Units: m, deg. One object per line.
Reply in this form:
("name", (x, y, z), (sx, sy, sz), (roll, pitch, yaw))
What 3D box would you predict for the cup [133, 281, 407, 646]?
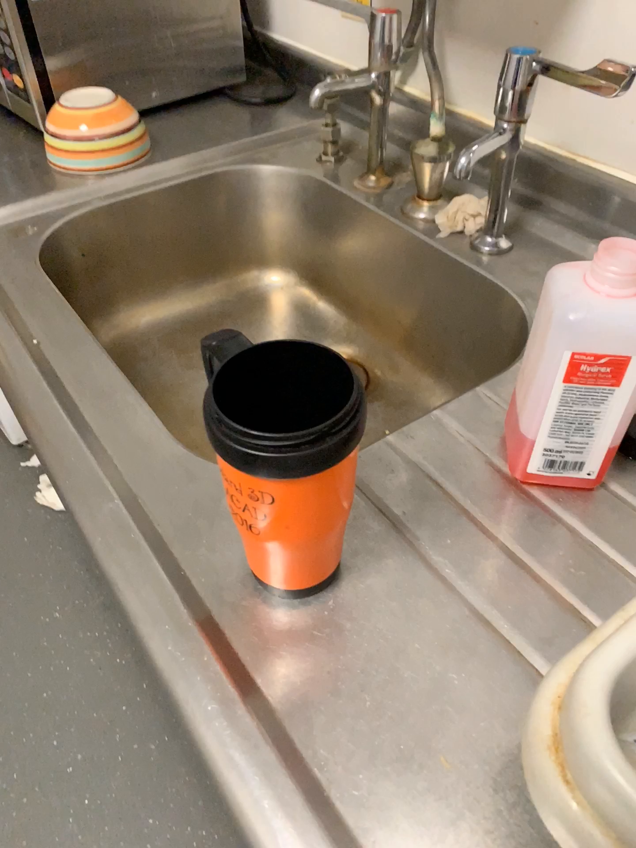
("cup", (-0.029, 0.024, 0.411), (0.090, 0.164, 0.135), (-28, 50, -25))
